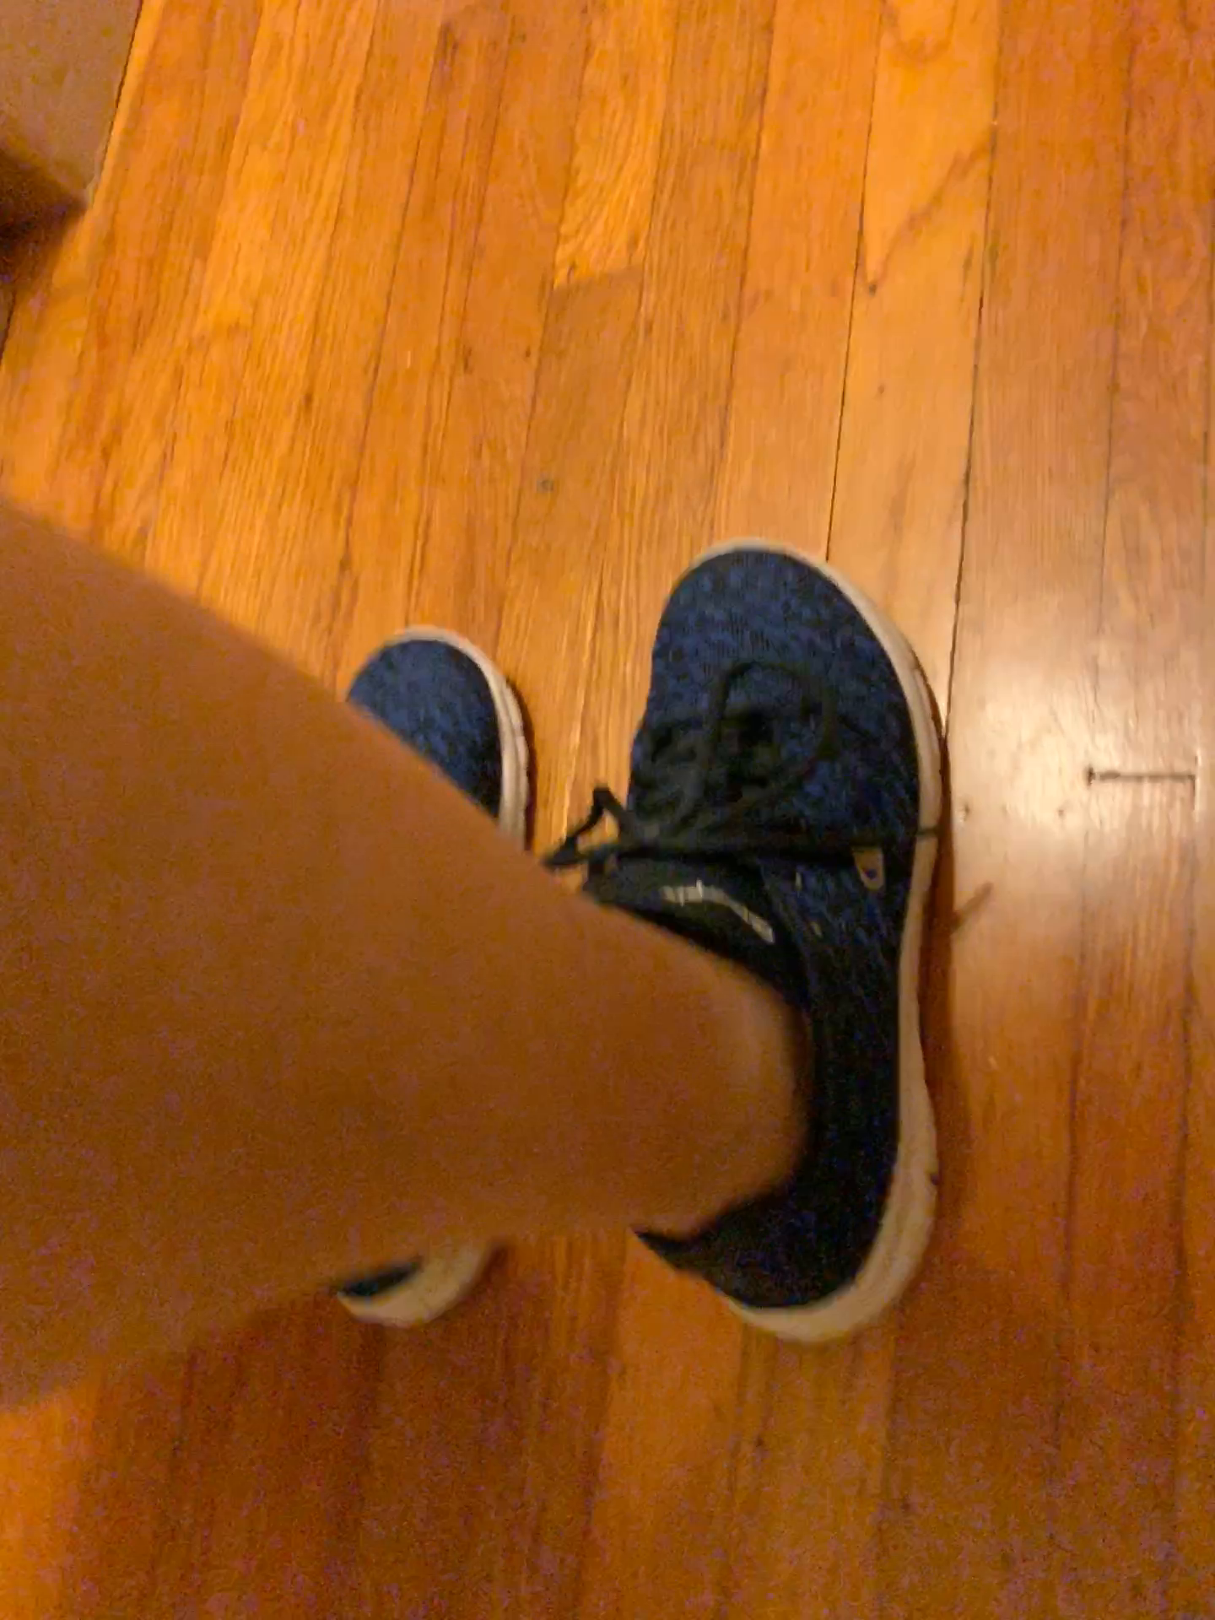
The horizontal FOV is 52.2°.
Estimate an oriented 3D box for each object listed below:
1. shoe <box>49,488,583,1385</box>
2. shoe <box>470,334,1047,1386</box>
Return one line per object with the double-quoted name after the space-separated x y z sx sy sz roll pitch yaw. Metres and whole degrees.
-0.099 0.053 0.485 0.116 0.149 0.290 -11 70 28 "shoe"
0.045 0.022 0.398 0.118 0.129 0.280 -13 69 27 "shoe"
